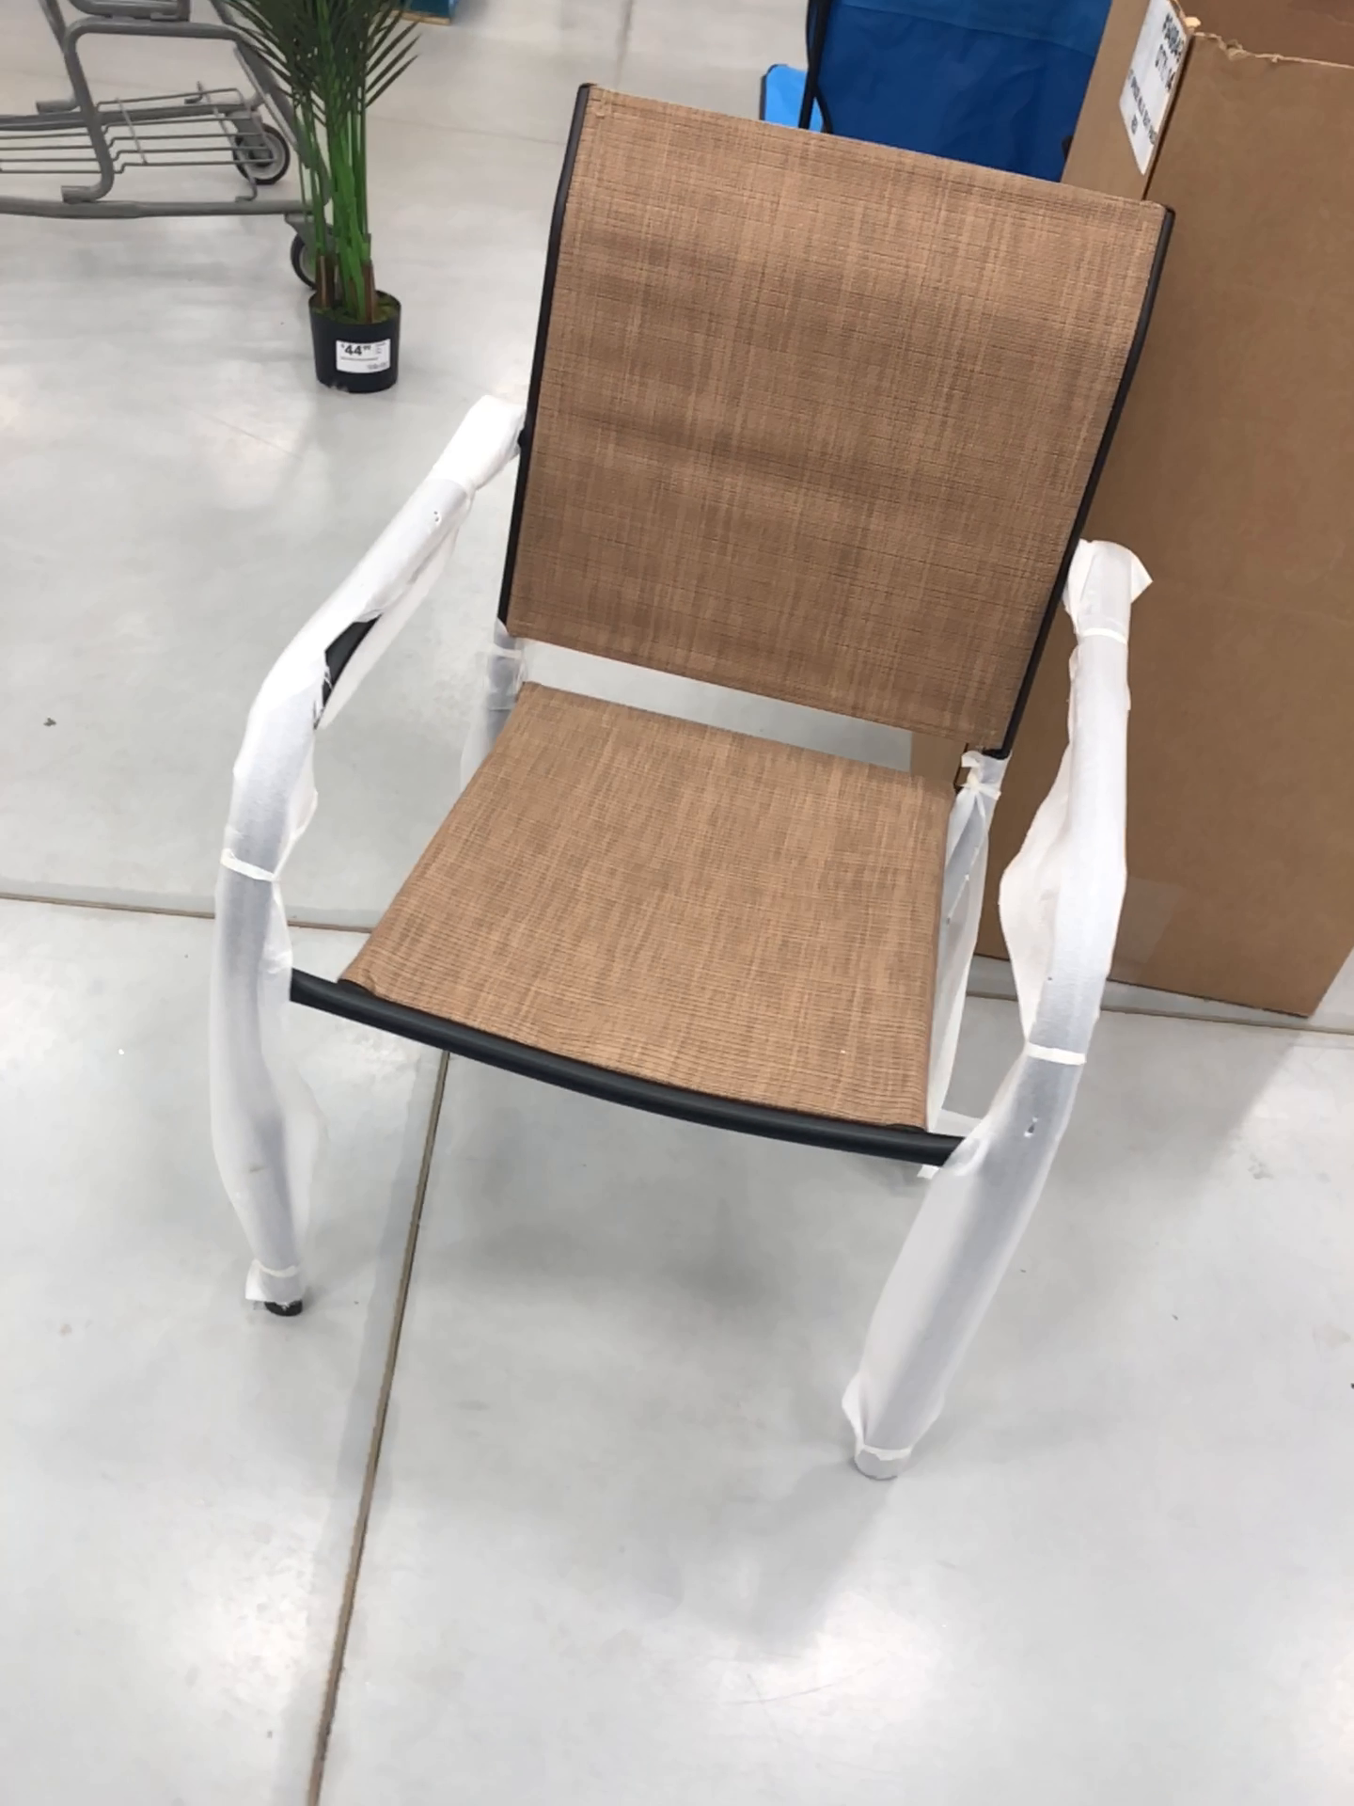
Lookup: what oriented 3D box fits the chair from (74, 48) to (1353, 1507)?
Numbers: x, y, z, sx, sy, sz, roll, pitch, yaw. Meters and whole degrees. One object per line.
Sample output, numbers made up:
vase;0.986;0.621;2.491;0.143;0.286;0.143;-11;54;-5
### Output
chair;0.024;-0.082;1.222;0.620;0.877;0.633;14;43;4
